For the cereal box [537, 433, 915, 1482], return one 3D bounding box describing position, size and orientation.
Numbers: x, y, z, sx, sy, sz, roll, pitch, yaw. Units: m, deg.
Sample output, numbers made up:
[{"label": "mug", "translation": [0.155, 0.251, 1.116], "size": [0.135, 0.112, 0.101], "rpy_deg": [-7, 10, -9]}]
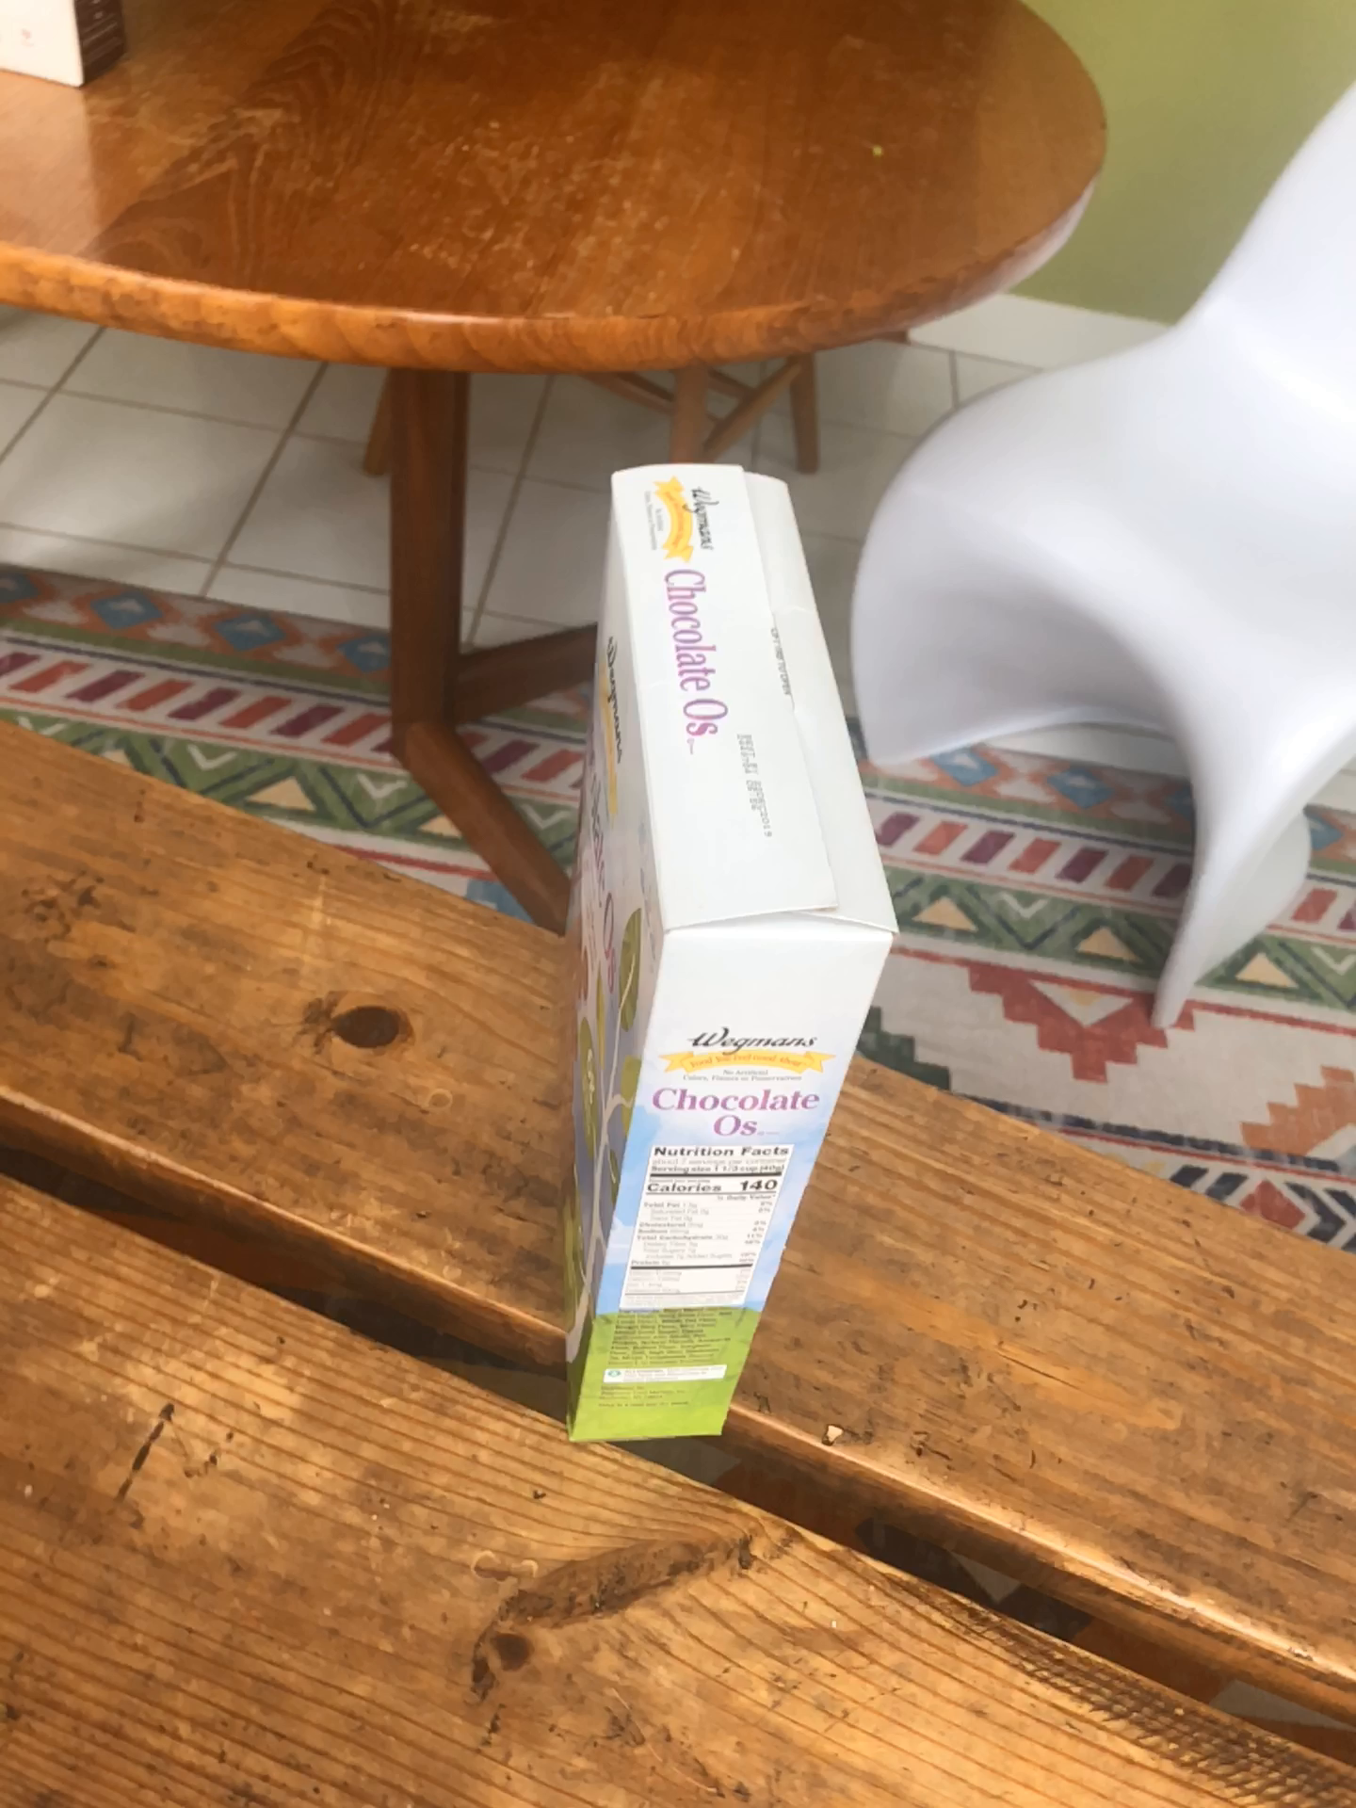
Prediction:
[{"label": "cereal box", "translation": [-0.005, 0.028, 0.492], "size": [0.060, 0.278, 0.211], "rpy_deg": [2, 47, -9]}]
